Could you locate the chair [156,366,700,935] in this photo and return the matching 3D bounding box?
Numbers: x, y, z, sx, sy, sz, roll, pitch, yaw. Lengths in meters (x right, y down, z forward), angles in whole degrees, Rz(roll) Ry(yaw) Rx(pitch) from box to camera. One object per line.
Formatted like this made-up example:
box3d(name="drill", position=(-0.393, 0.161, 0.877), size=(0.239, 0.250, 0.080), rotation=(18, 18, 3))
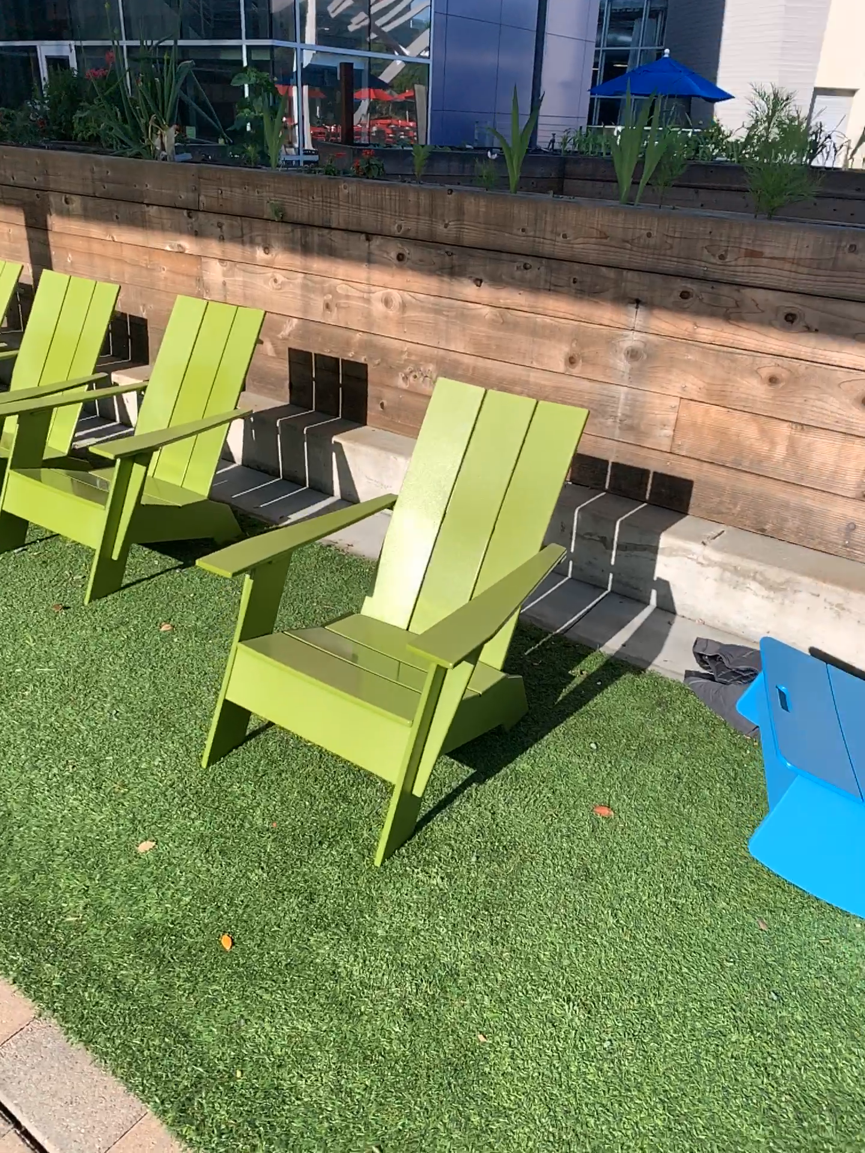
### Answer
box3d(name="chair", position=(0.016, 0.068, 2.275), size=(0.853, 0.895, 1.002), rotation=(21, 32, 31))
